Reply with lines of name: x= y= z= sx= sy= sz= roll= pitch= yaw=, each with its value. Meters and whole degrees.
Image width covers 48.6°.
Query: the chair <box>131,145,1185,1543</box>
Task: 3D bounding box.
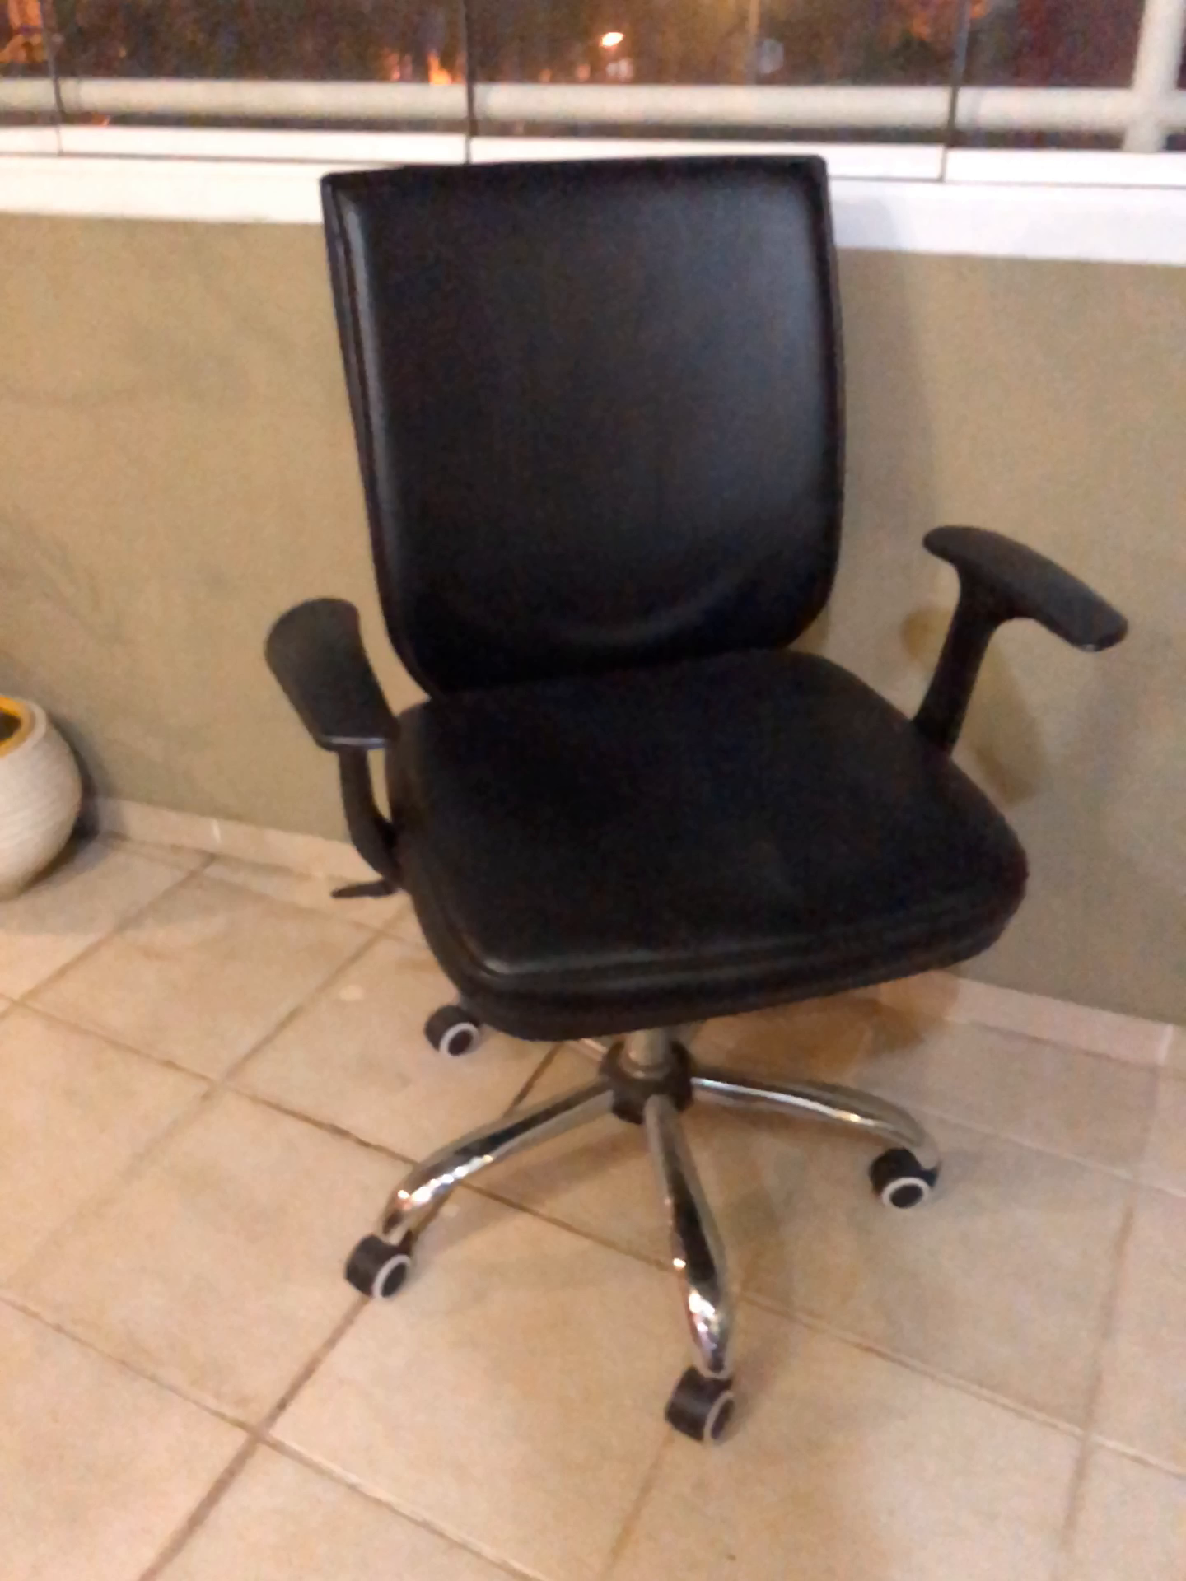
chair: x=0.040 y=-0.015 z=1.160 sx=0.660 sy=0.933 sz=0.665 roll=-8 pitch=31 yaw=-12
